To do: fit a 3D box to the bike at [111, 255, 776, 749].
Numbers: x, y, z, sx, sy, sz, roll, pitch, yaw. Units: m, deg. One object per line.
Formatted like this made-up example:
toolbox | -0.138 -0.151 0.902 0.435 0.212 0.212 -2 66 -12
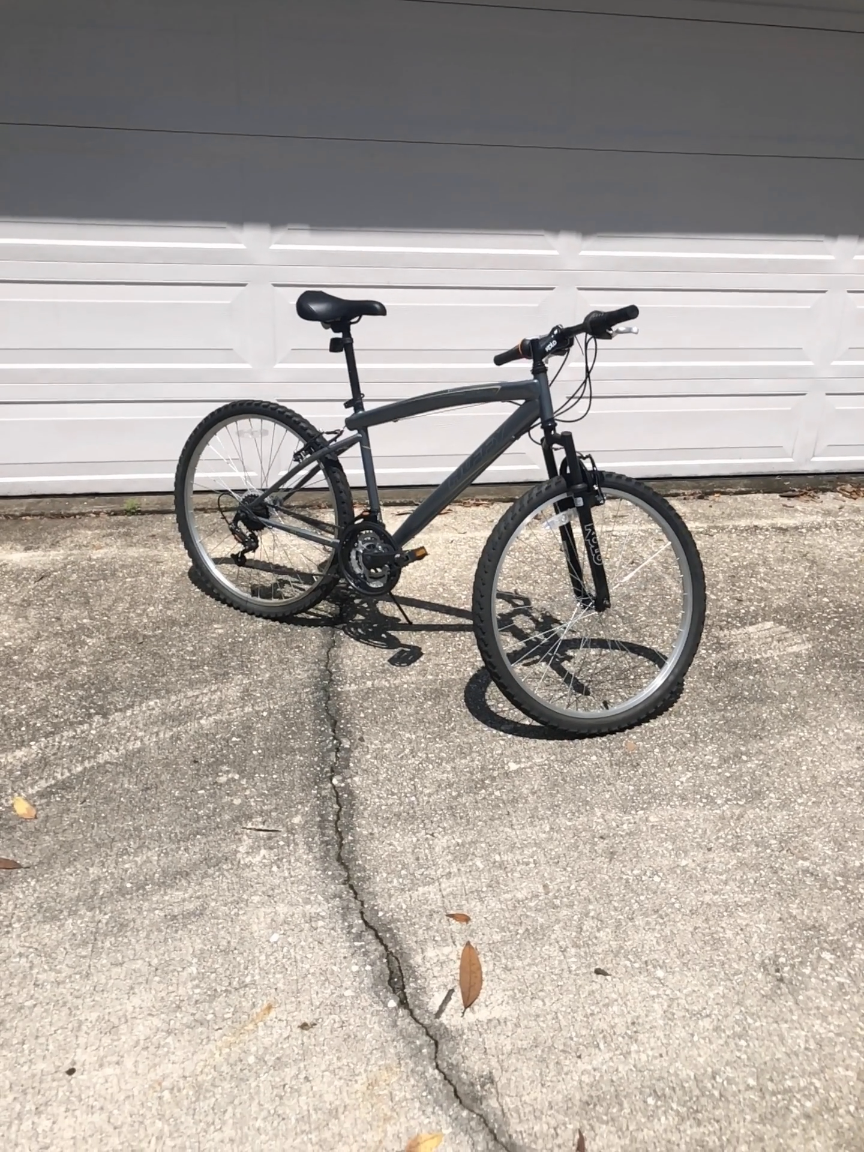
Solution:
bike | 0.038 -0.288 2.734 1.531 0.980 0.682 13 26 18
